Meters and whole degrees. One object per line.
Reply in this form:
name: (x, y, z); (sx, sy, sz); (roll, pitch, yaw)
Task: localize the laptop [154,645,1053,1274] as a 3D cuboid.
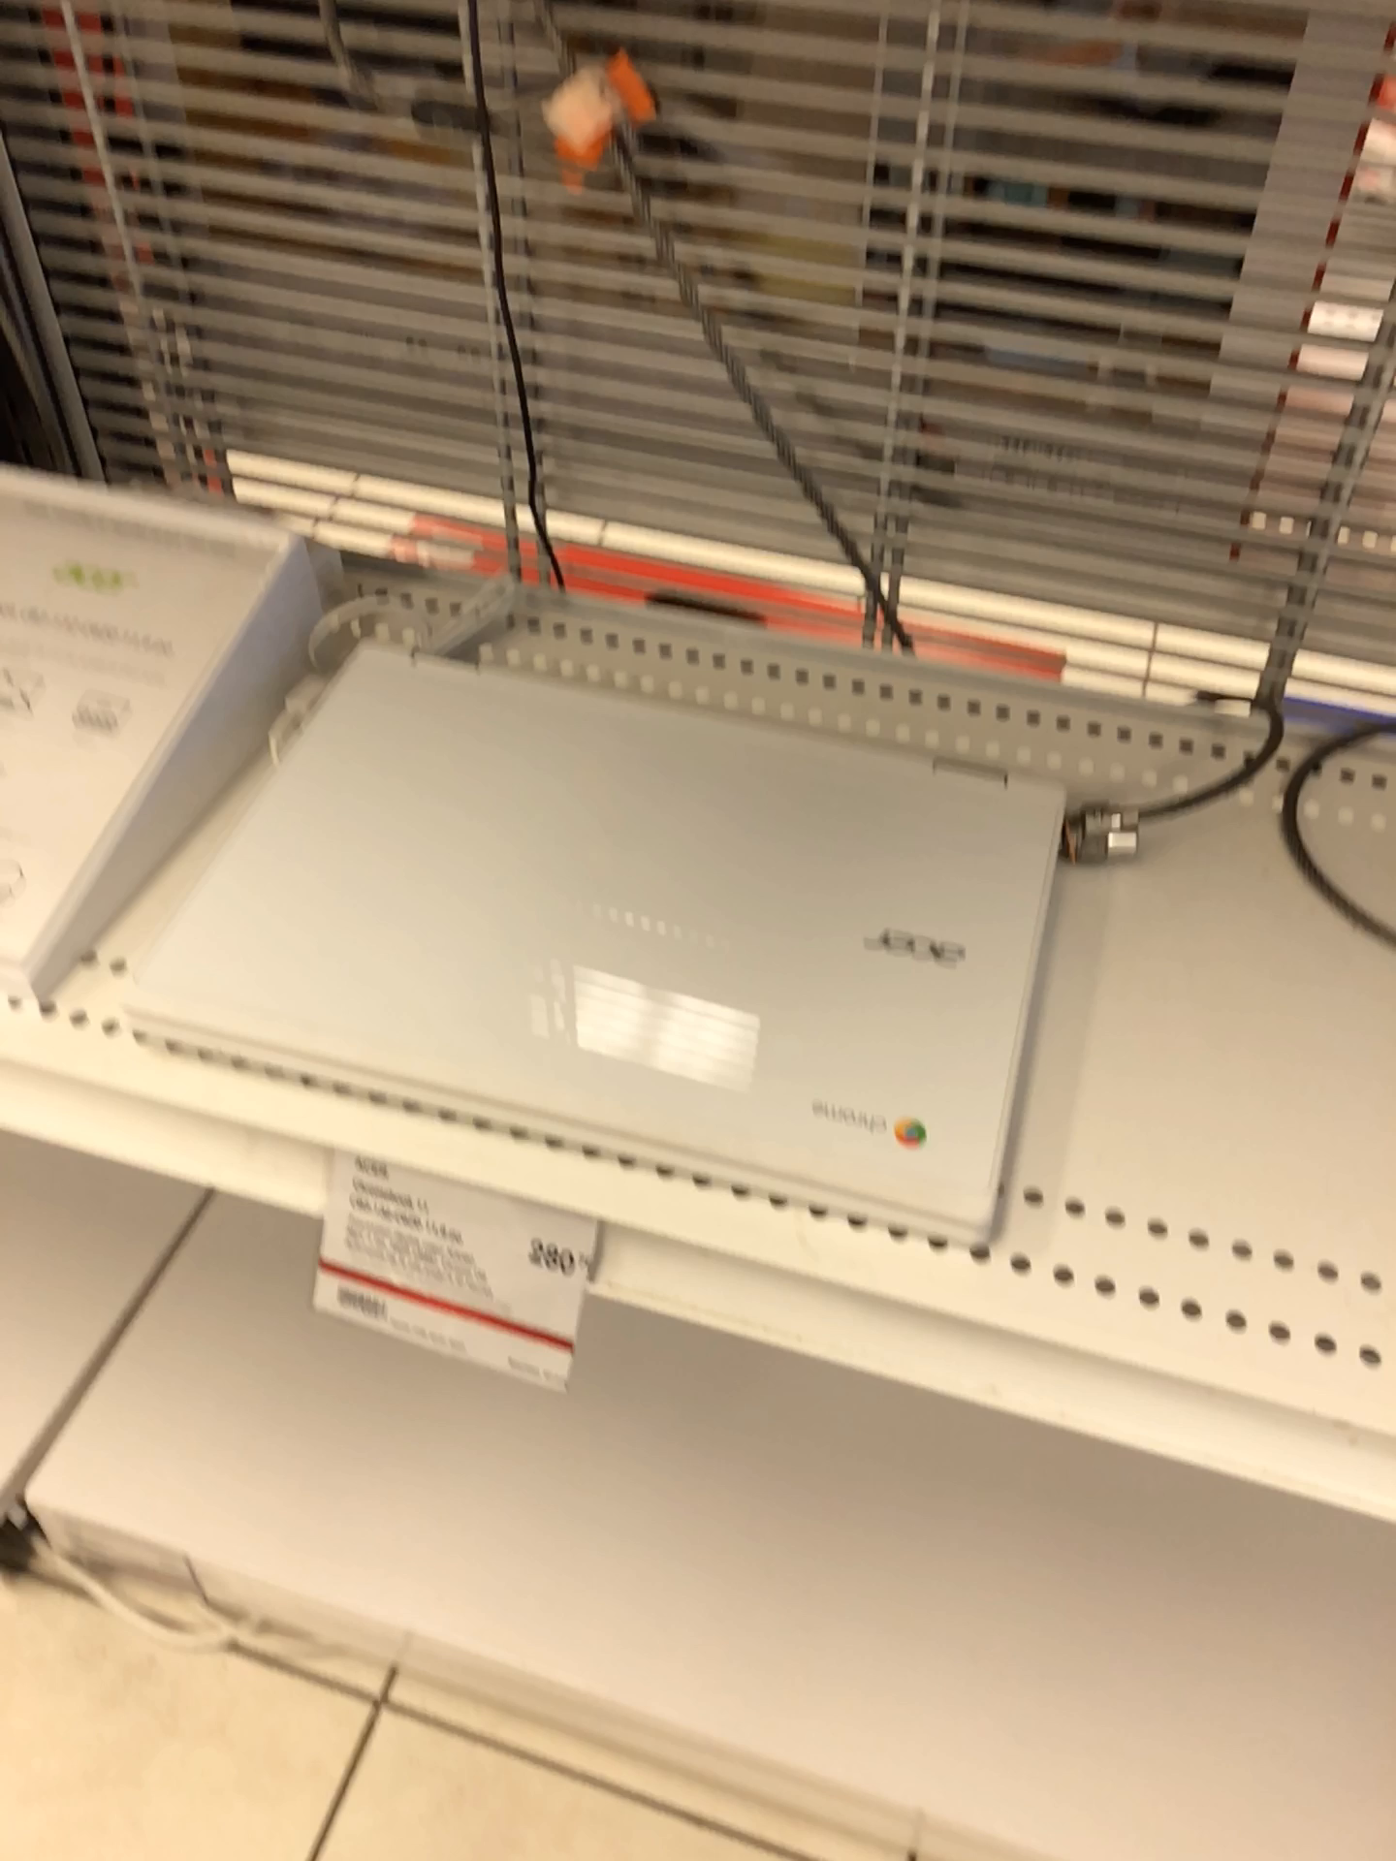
laptop: (-0.027, -0.004, 0.563); (0.286, 0.024, 0.184); (13, 55, 11)
